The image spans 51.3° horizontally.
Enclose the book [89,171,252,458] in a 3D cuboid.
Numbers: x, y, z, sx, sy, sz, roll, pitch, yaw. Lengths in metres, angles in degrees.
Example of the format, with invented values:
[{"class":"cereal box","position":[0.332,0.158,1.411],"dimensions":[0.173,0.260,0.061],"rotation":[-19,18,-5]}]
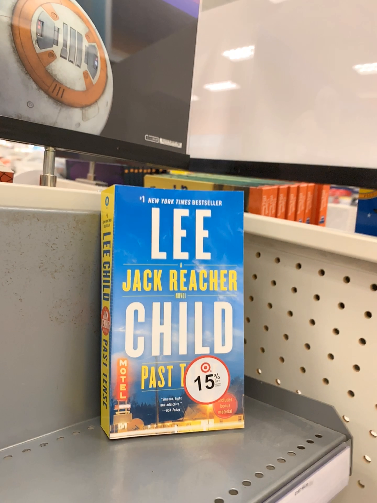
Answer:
[{"class":"book","position":[-0.017,0.046,0.335],"dimensions":[0.110,0.197,0.080],"rotation":[3,-8,-30]}]
